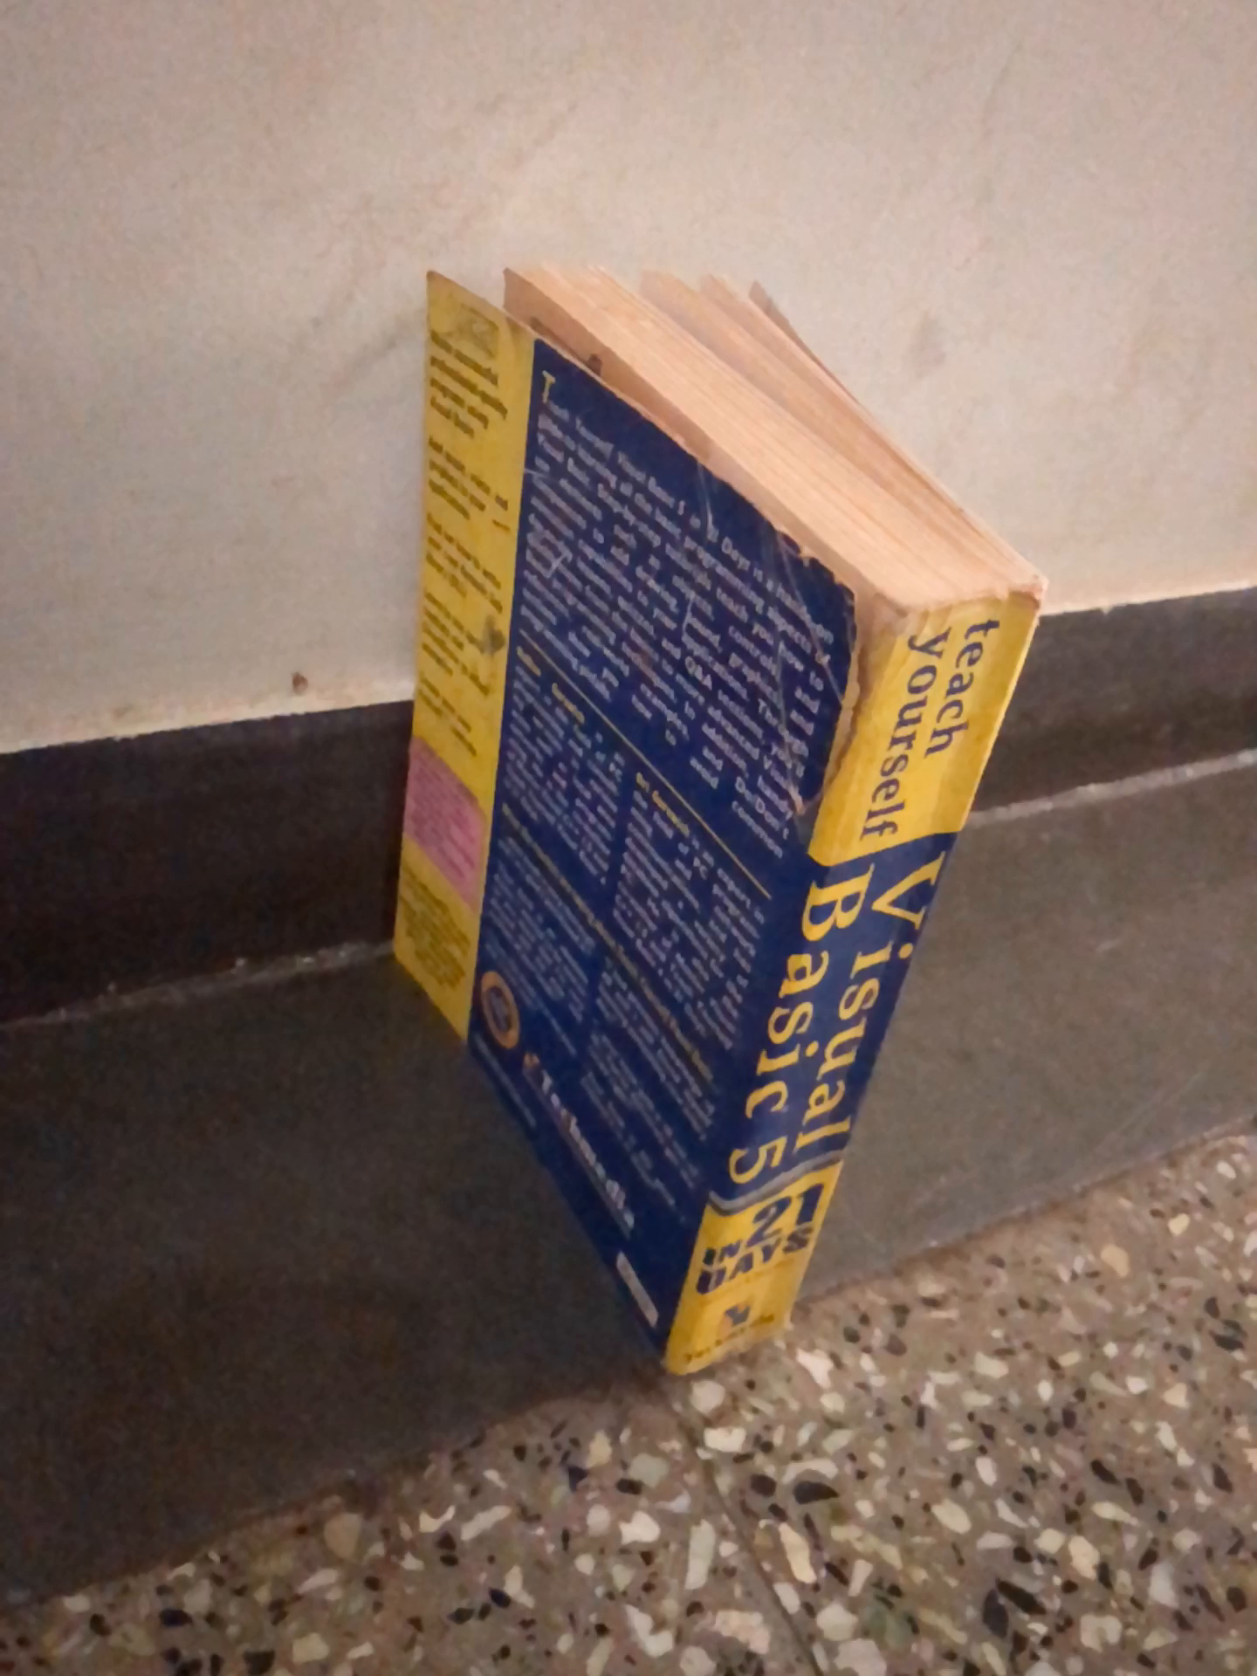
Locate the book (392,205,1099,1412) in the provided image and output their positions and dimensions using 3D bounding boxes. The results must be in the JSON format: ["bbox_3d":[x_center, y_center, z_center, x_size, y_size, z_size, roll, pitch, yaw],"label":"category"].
[{"bbox_3d":[-0.003,-0.022,0.392,0.060,0.229,0.251,-10,40,-20],"label":"book"}]
